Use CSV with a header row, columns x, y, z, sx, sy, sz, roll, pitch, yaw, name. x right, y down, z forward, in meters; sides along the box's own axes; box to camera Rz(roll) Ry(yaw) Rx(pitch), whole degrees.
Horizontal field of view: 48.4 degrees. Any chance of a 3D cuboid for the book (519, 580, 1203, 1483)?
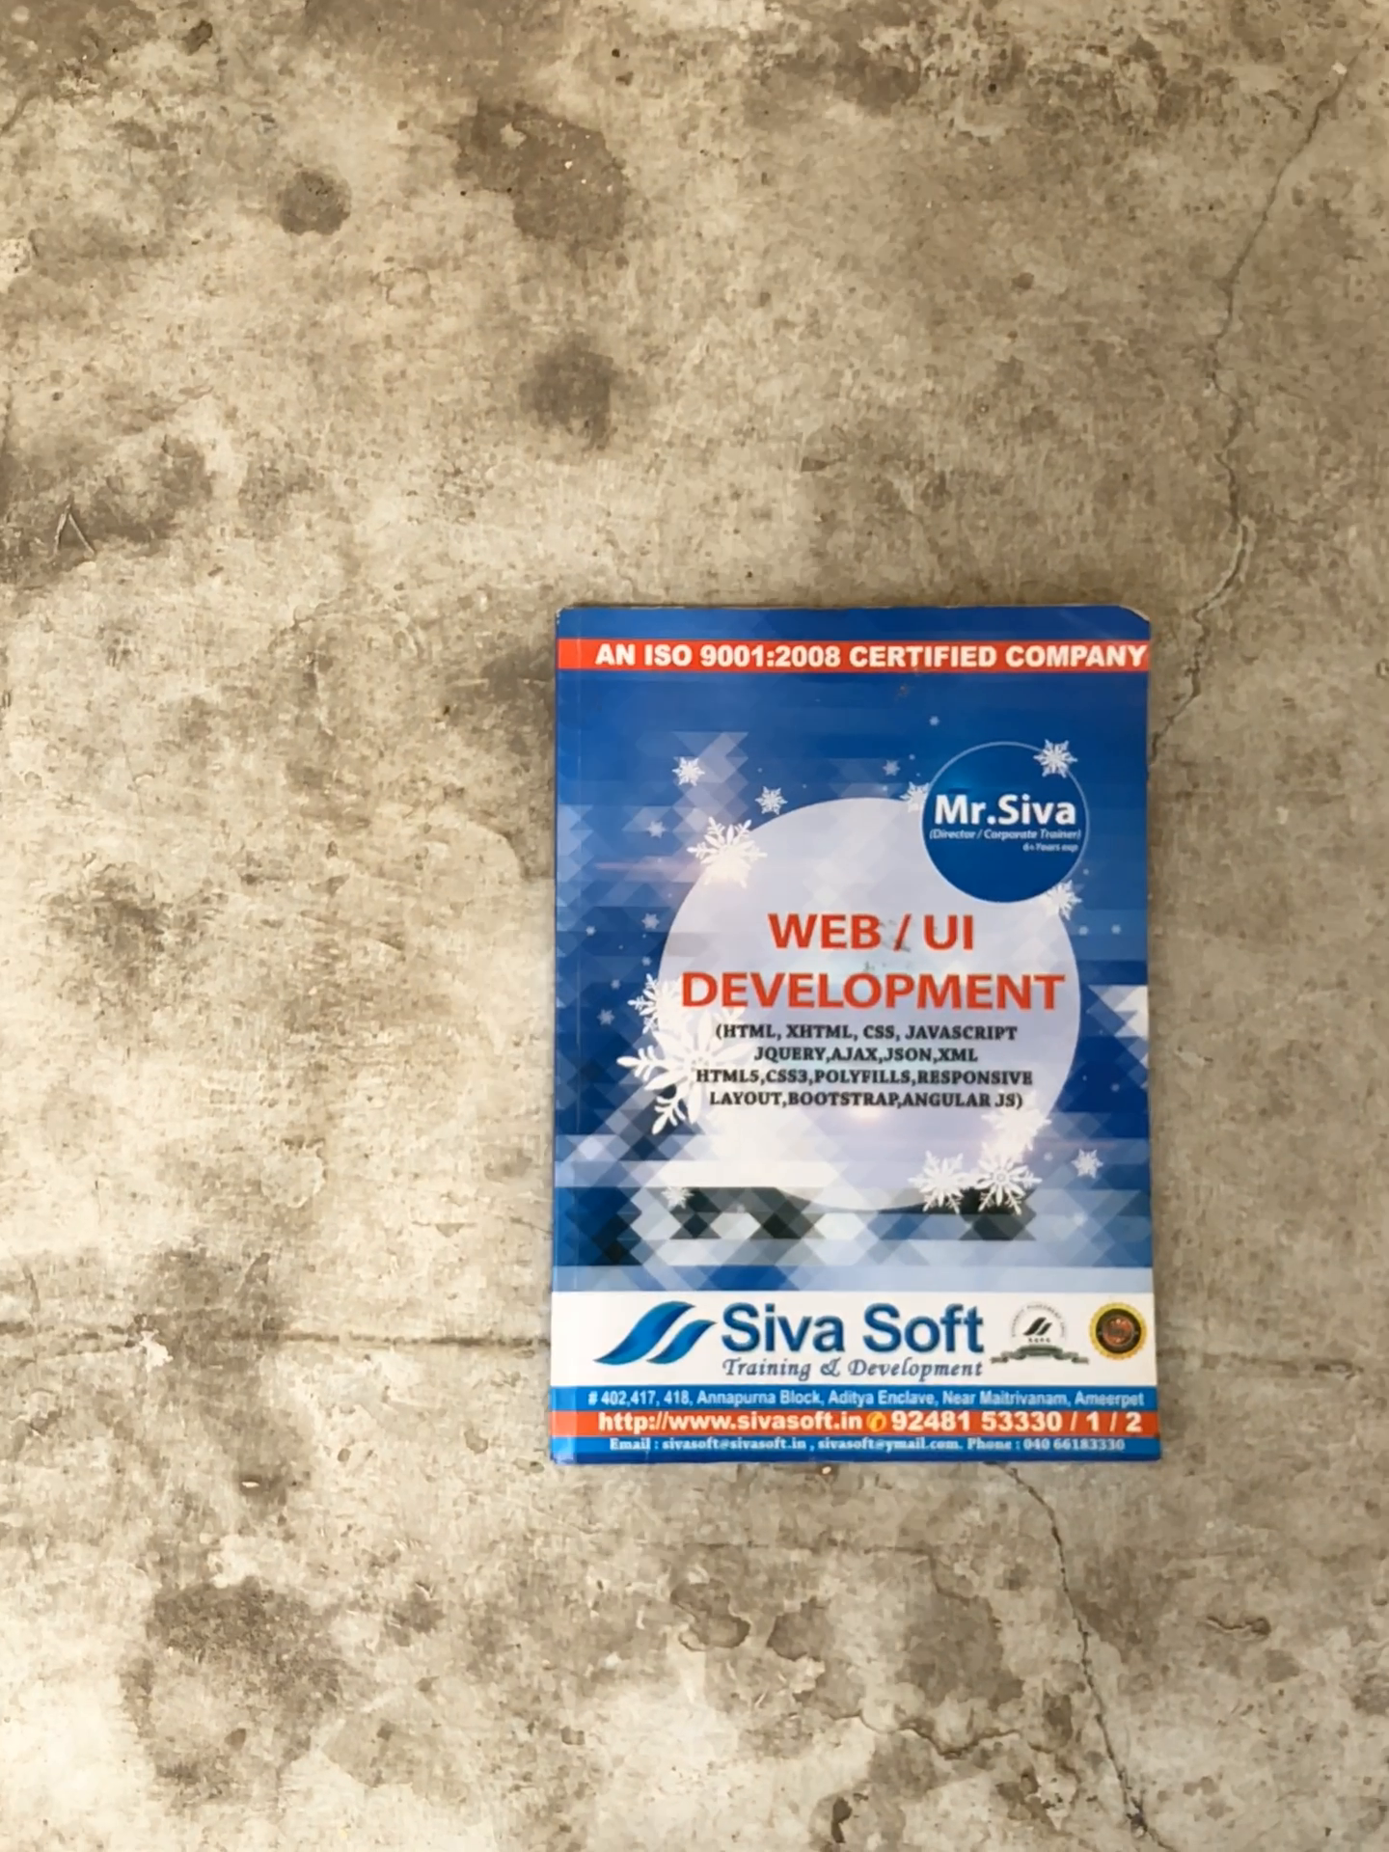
x,y,z,sx,sy,sz,roll,pitch,yaw,name
0.052,0.031,0.497,0.210,0.030,0.280,0,87,0,book
